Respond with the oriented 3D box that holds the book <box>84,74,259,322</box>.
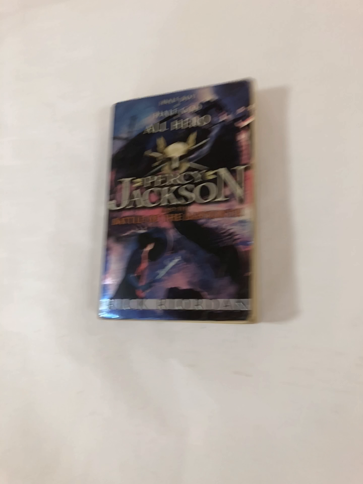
[{"bbox_3d":[-0.006,-0.031,0.336,0.130,0.040,0.190,-3,77,19],"label":"book"}]
